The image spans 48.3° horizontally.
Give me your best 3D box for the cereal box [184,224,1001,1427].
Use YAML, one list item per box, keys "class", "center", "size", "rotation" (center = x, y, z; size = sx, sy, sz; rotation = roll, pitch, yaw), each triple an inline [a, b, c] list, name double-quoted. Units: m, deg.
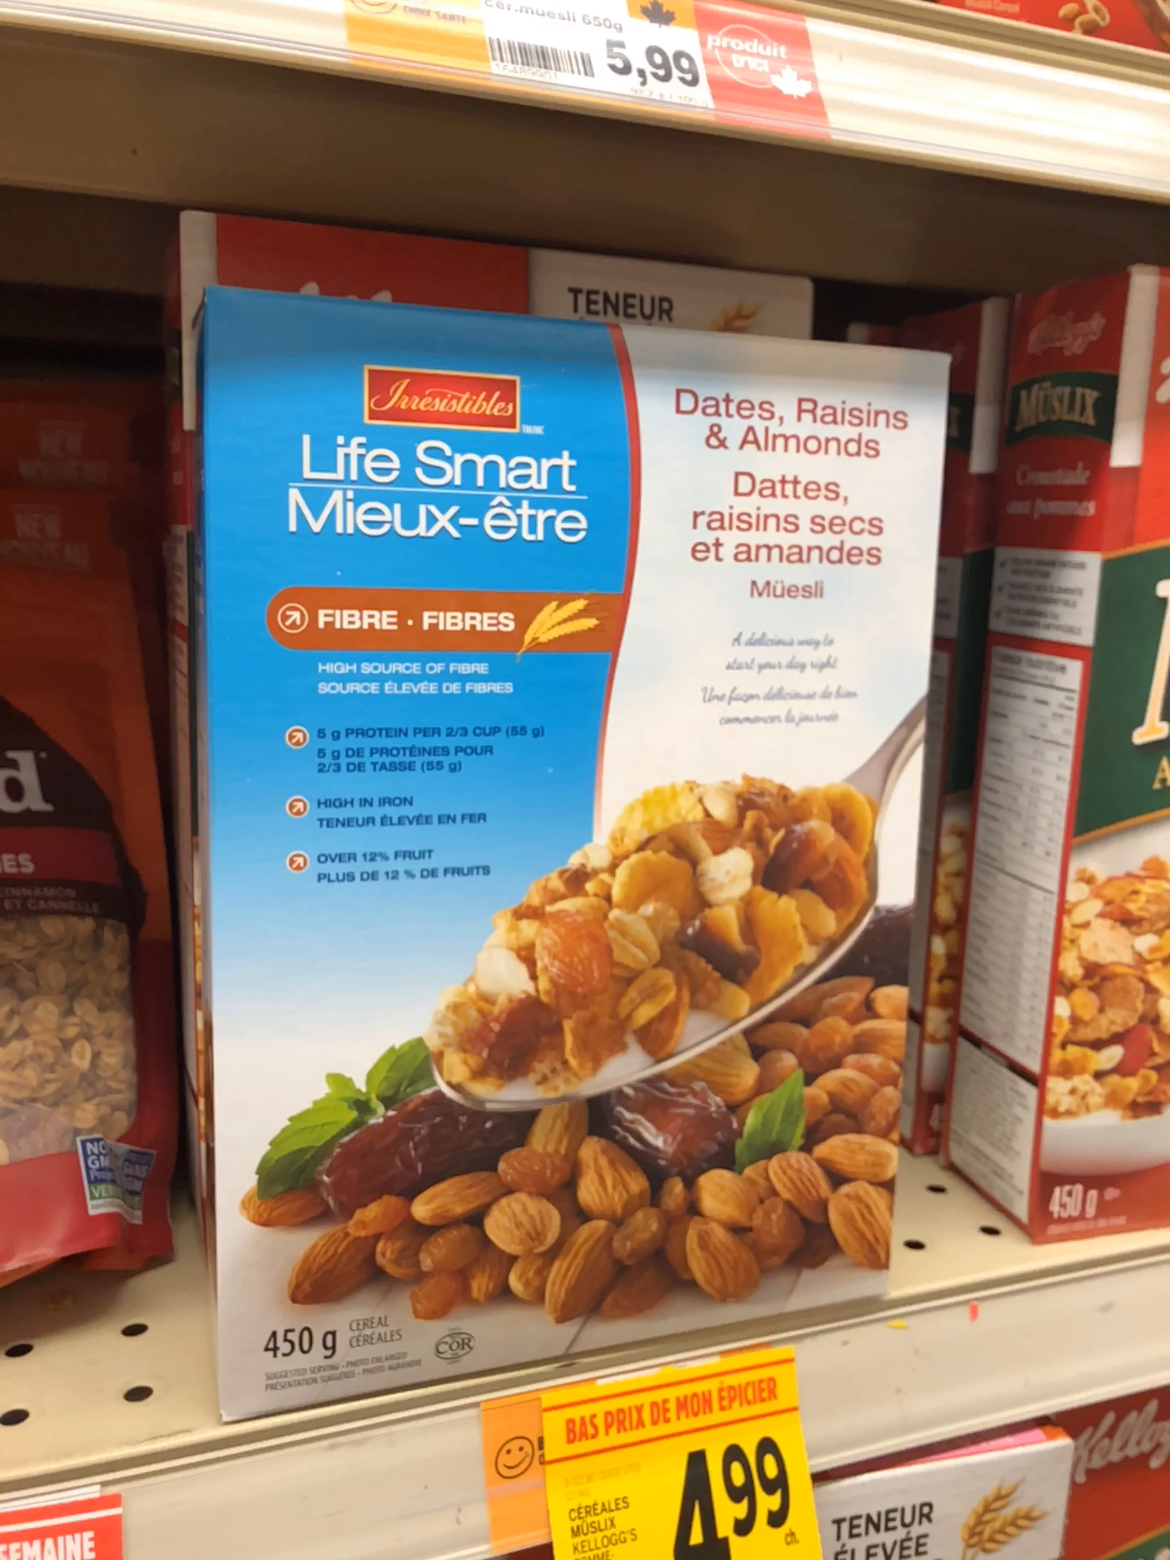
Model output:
- class: "cereal box"
  center: [-0.001, 0.011, 0.304]
  size: [0.170, 0.239, 0.050]
  rotation: [-2, 11, -19]
